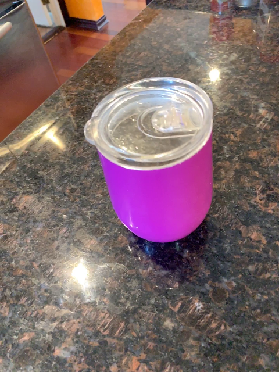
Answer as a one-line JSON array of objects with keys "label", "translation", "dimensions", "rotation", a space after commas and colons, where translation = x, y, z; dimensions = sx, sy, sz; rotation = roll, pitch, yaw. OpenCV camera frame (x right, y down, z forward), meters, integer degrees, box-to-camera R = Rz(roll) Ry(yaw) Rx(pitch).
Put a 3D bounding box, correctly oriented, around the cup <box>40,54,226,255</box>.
[{"label": "cup", "translation": [0.006, -0.022, 0.220], "dimensions": [0.090, 0.110, 0.090], "rotation": [-5, 54, 6]}]
